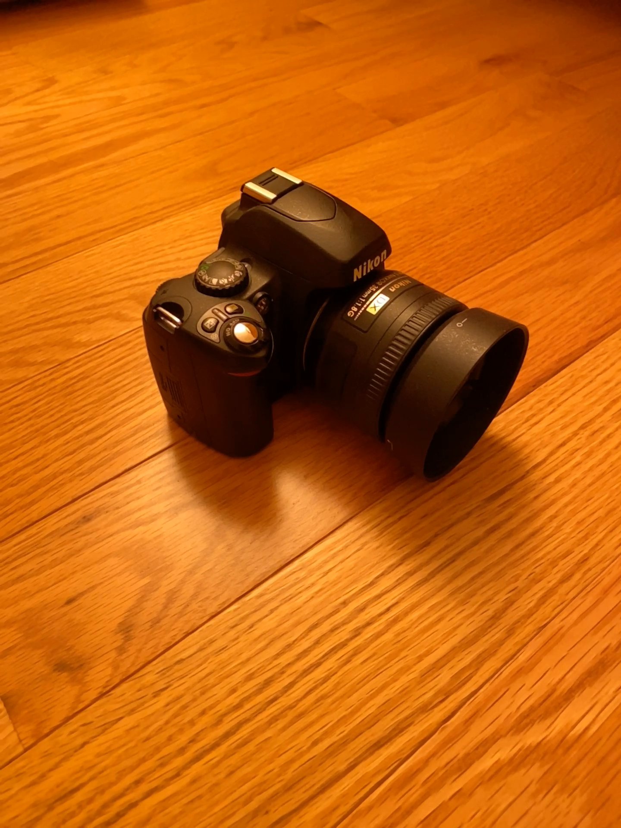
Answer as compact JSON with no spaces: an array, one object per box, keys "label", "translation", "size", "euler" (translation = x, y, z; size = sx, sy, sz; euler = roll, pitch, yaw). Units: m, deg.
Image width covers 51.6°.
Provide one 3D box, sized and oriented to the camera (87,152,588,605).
[{"label":"camera","translation":[0.010,-0.026,0.275],"size":[0.140,0.080,0.130],"euler":[35,58,26]}]
